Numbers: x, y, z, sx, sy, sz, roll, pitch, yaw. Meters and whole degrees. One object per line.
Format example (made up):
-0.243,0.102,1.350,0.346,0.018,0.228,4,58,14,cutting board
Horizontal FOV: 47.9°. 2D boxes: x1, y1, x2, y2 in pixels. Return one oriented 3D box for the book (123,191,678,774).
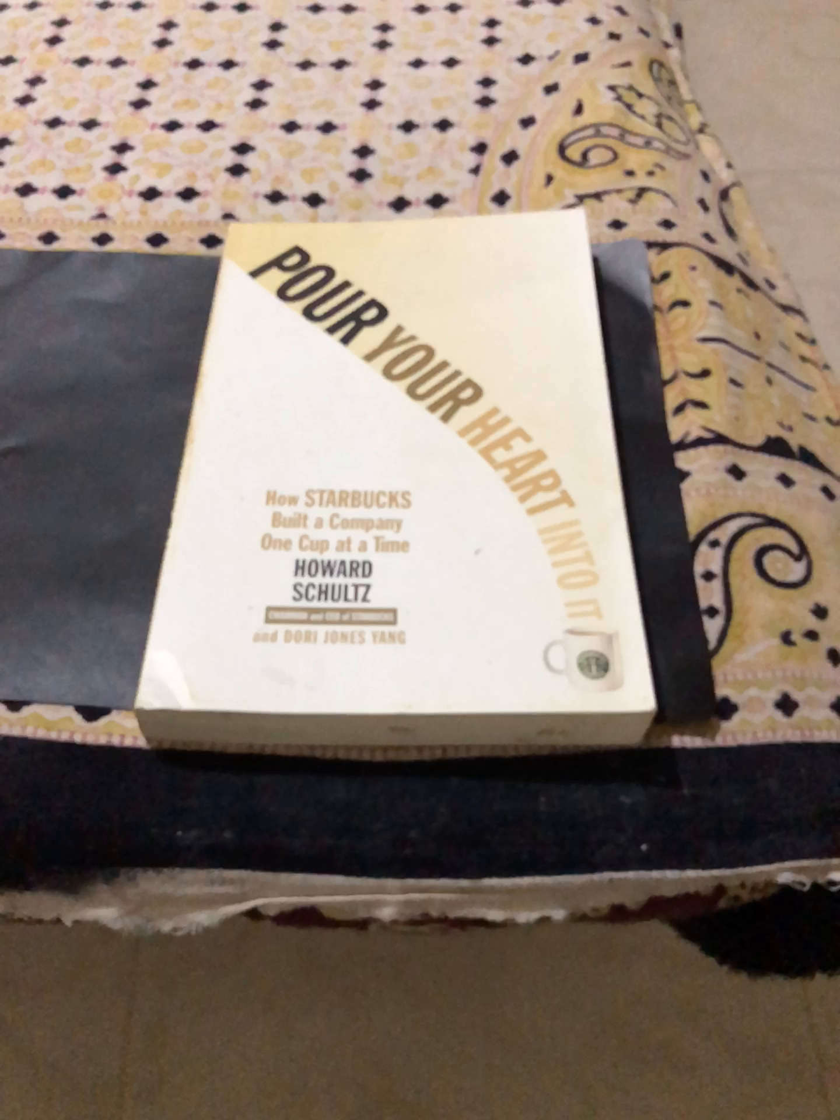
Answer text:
-0.005,-0.044,0.360,0.160,0.050,0.240,1,56,0,book
